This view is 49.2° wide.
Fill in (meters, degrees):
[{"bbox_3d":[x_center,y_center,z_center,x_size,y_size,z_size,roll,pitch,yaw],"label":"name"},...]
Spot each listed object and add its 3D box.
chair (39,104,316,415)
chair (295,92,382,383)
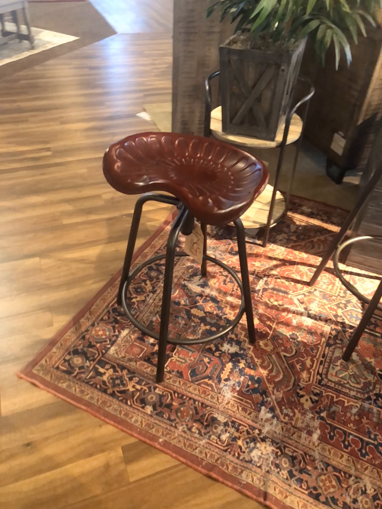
[{"bbox_3d":[0.000,-0.015,1.331,0.567,0.627,0.613,15,42,13],"label":"chair"},{"bbox_3d":[0.801,-0.058,1.363,0.610,0.736,0.539,-4,41,-9],"label":"chair"}]
